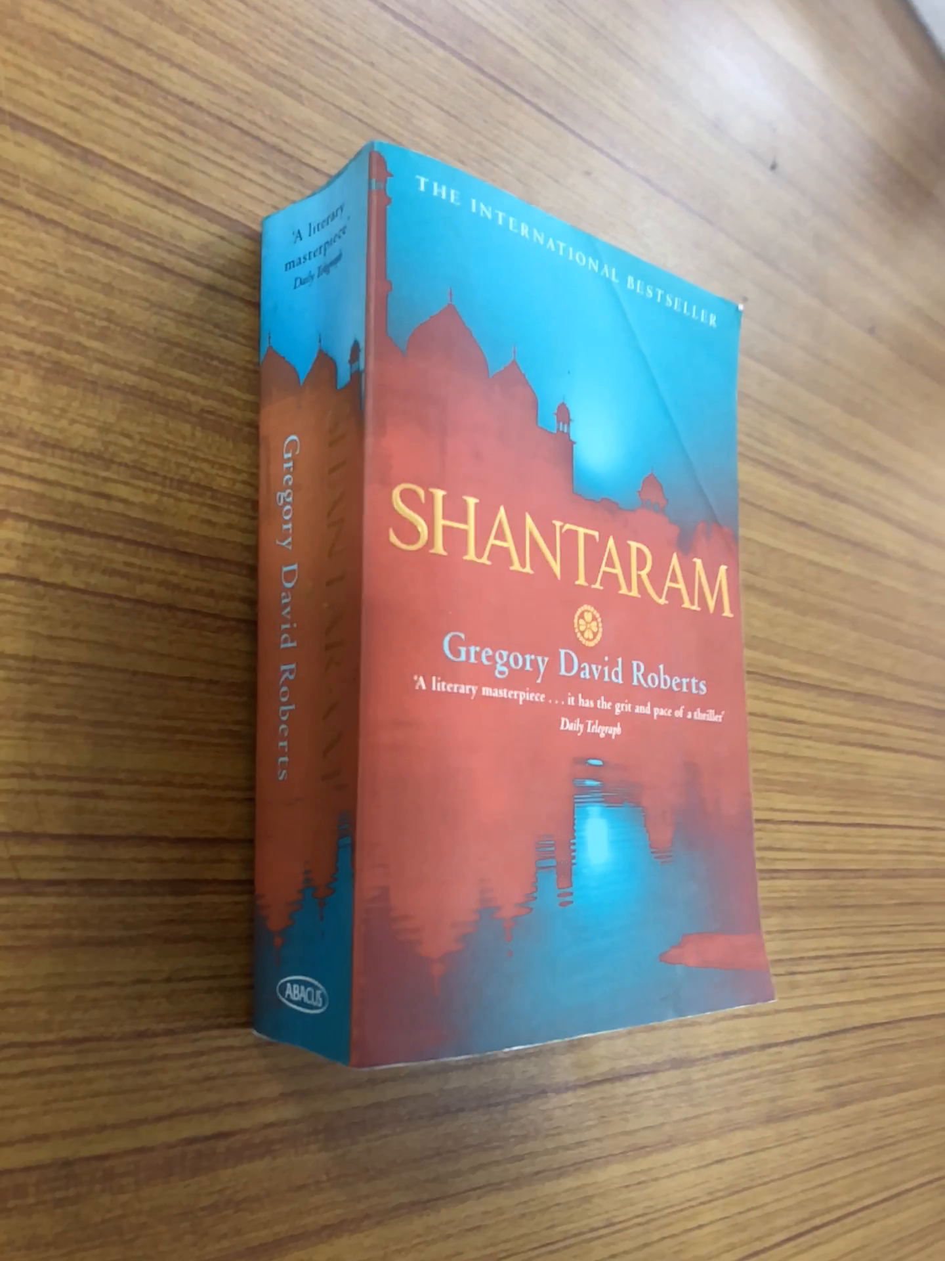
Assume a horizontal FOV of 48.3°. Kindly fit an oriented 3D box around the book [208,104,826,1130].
[{"bbox_3d":[0.018,0.001,0.260,0.151,0.050,0.190,8,77,-41],"label":"book"}]
